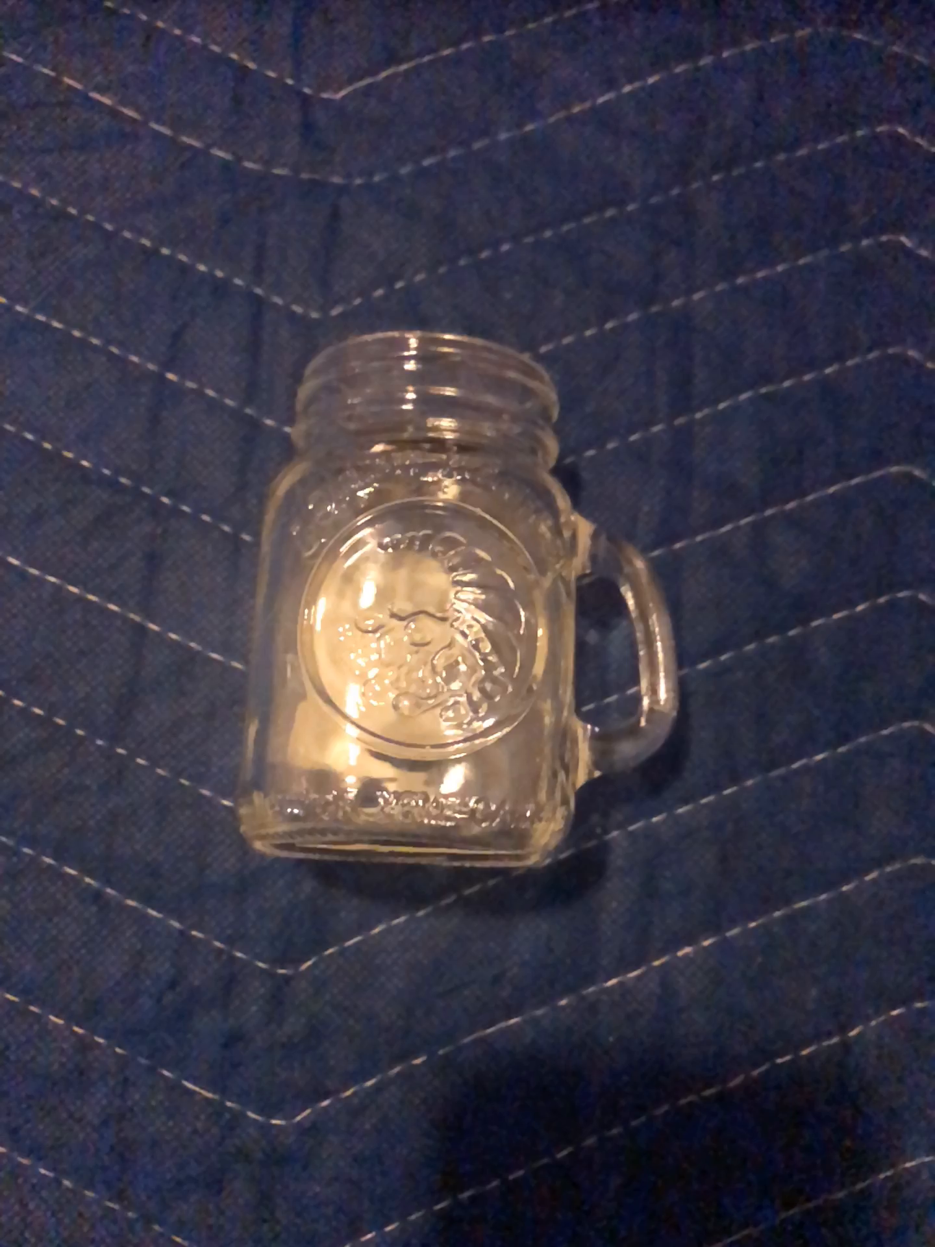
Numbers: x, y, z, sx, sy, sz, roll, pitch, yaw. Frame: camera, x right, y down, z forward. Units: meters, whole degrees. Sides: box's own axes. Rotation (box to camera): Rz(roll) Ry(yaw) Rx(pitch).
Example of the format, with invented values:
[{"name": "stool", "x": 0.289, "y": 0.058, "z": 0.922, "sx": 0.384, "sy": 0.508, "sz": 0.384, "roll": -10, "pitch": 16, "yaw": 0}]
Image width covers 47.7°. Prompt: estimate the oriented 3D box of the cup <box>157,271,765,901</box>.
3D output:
[{"name": "cup", "x": 0.000, "y": -0.005, "z": 0.181, "sx": 0.088, "sy": 0.043, "sz": 0.095, "roll": 0, "pitch": 83, "yaw": 0}]
